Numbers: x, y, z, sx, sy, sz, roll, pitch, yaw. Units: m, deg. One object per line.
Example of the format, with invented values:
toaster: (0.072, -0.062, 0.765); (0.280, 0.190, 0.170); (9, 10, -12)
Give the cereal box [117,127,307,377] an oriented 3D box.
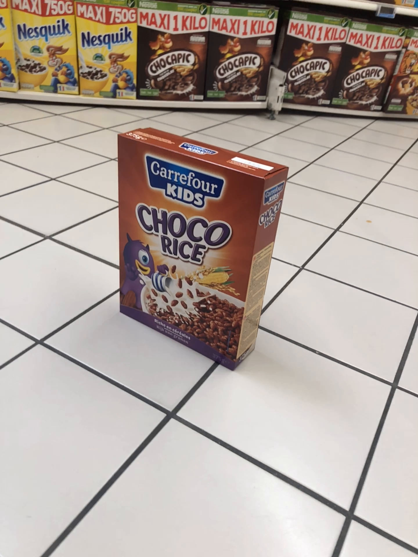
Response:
cereal box: (-0.012, -0.034, 0.556); (0.200, 0.239, 0.070); (23, 35, 26)
